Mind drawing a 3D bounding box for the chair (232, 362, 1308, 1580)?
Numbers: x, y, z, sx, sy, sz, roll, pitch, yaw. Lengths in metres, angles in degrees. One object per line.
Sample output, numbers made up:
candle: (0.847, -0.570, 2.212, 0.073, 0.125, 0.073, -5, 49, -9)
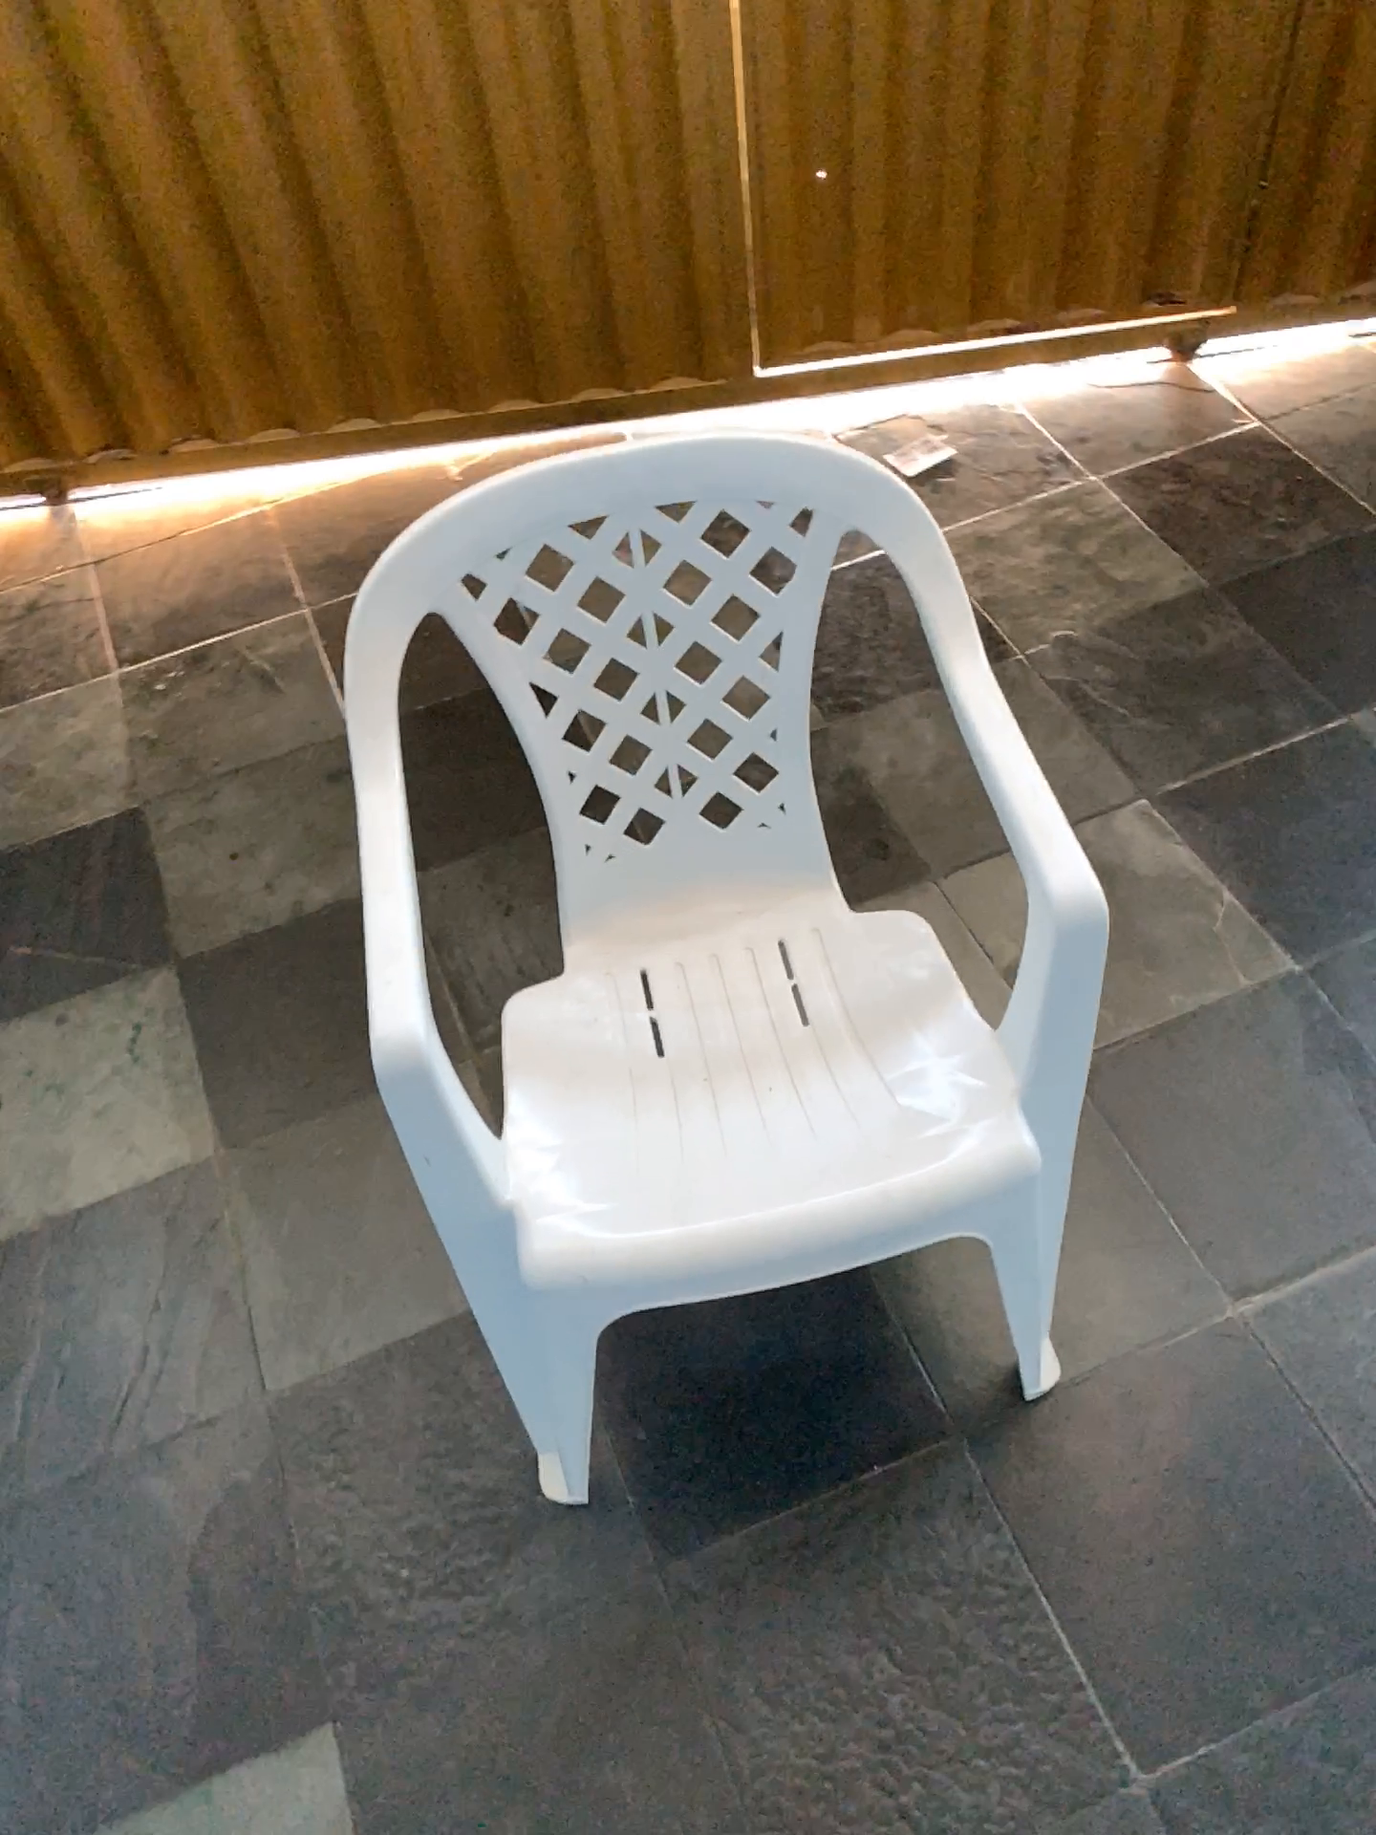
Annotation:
chair: (0.024, 0.073, 1.174, 0.540, 0.716, 0.593, -15, 51, -5)
